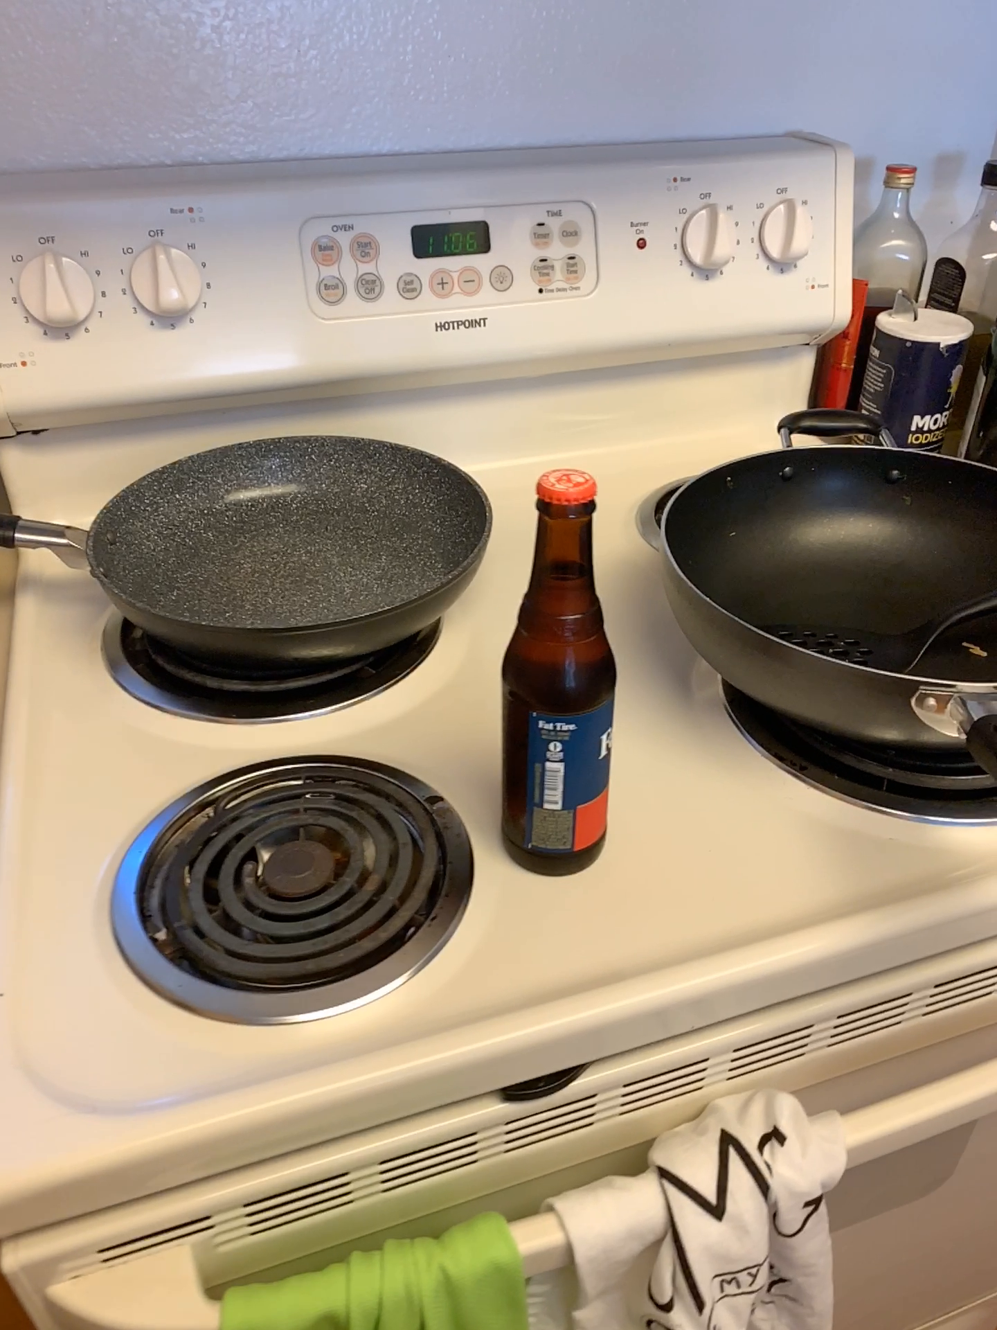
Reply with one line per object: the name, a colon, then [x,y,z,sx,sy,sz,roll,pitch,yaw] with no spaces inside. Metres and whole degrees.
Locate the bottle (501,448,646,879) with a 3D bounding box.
bottle: [0.032,0.007,0.511,0.060,0.219,0.060,0,35,0]
